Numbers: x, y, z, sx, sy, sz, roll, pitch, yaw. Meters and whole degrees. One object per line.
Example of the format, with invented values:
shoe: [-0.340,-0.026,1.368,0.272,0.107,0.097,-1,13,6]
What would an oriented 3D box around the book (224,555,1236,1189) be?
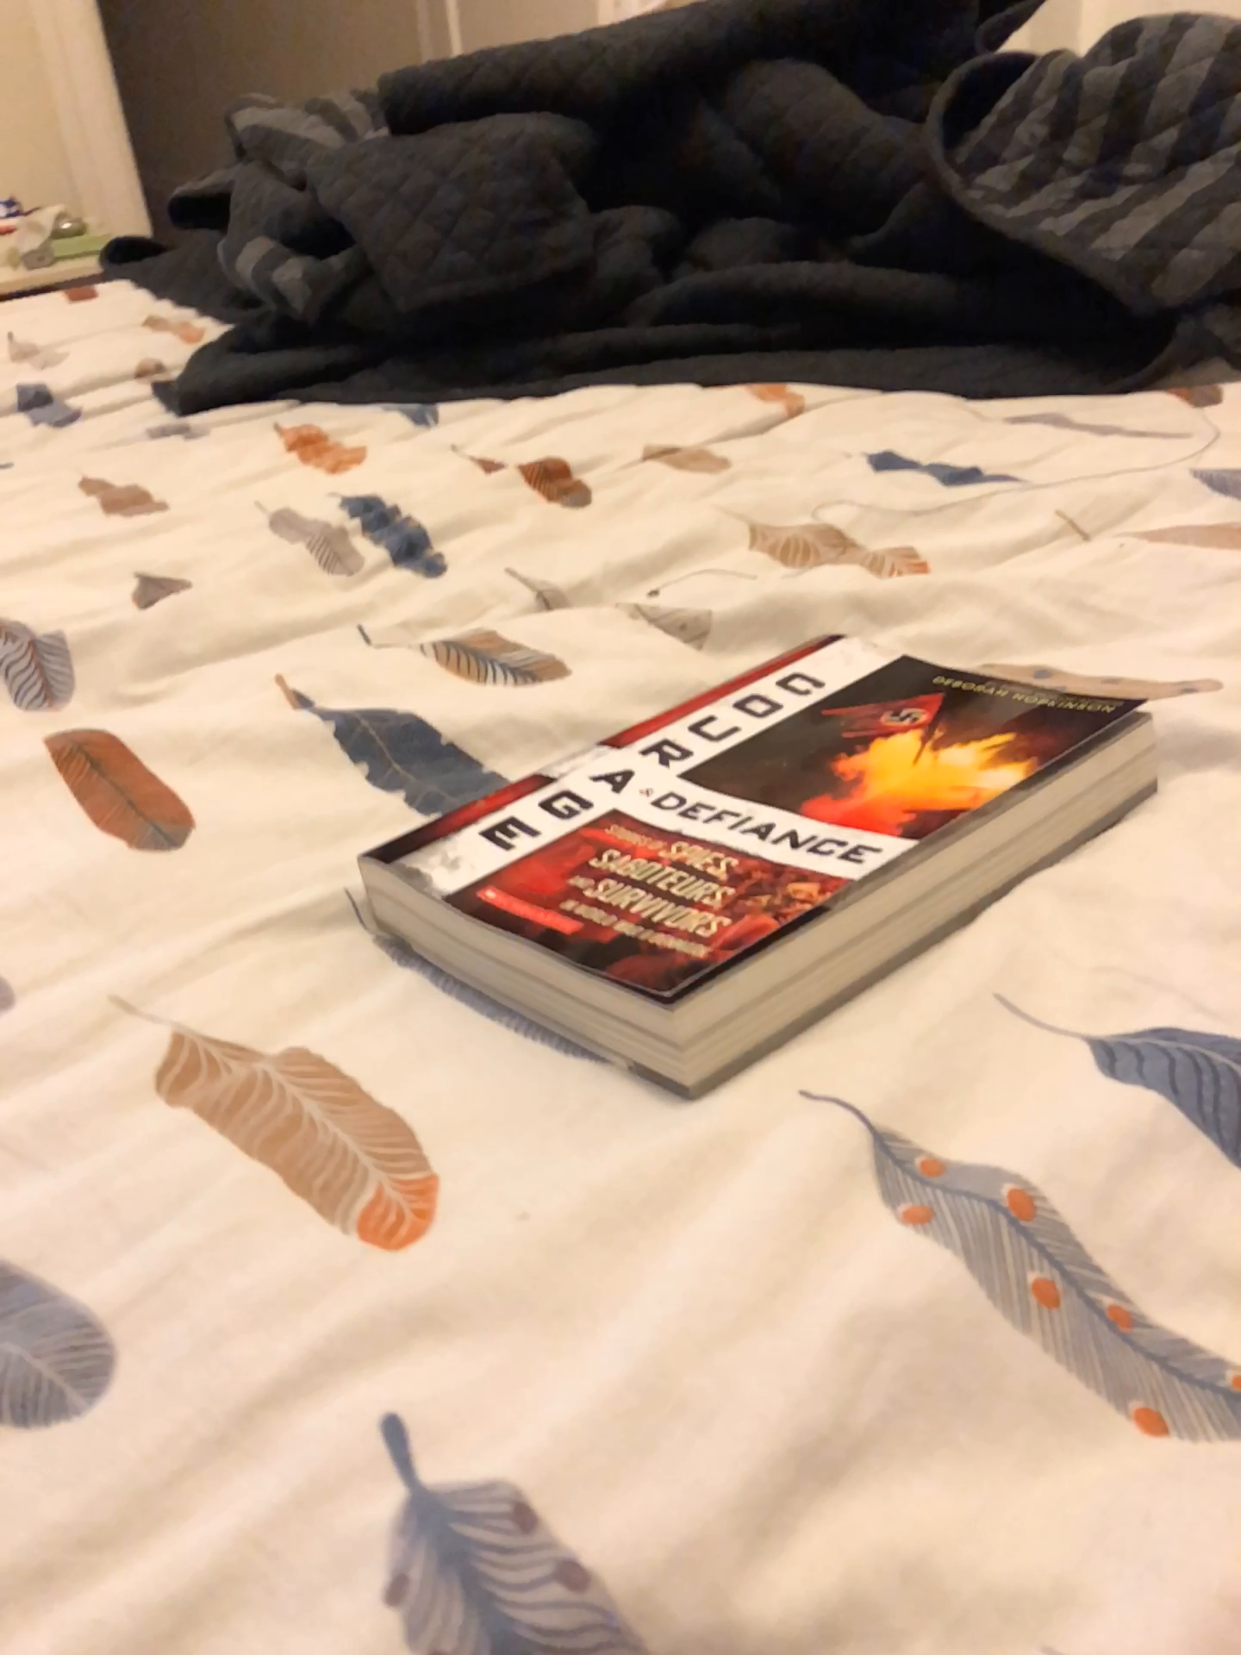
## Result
book: [0.034,-0.015,0.415,0.231,0.020,0.201,-31,41,-34]
